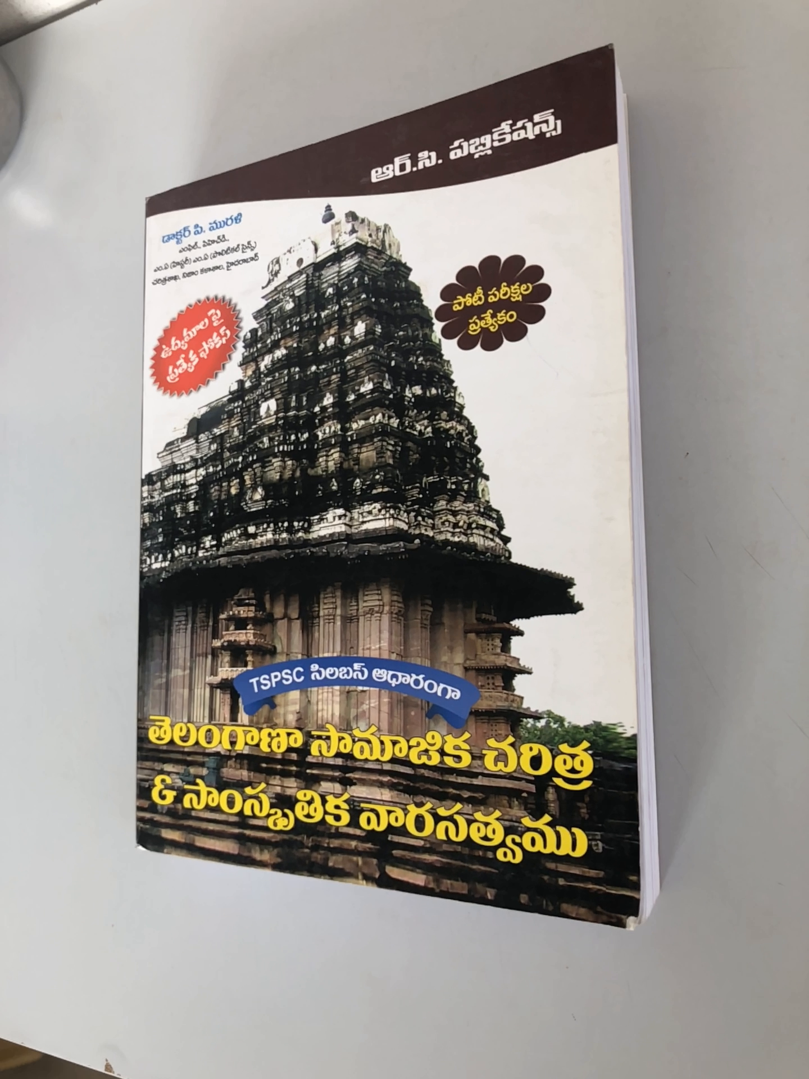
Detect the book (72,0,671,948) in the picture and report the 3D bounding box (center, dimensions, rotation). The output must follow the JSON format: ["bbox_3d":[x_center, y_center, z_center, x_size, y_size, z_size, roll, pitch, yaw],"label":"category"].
[{"bbox_3d":[-0.017,-0.017,0.275,0.180,0.040,0.230,-3,84,28],"label":"book"}]
